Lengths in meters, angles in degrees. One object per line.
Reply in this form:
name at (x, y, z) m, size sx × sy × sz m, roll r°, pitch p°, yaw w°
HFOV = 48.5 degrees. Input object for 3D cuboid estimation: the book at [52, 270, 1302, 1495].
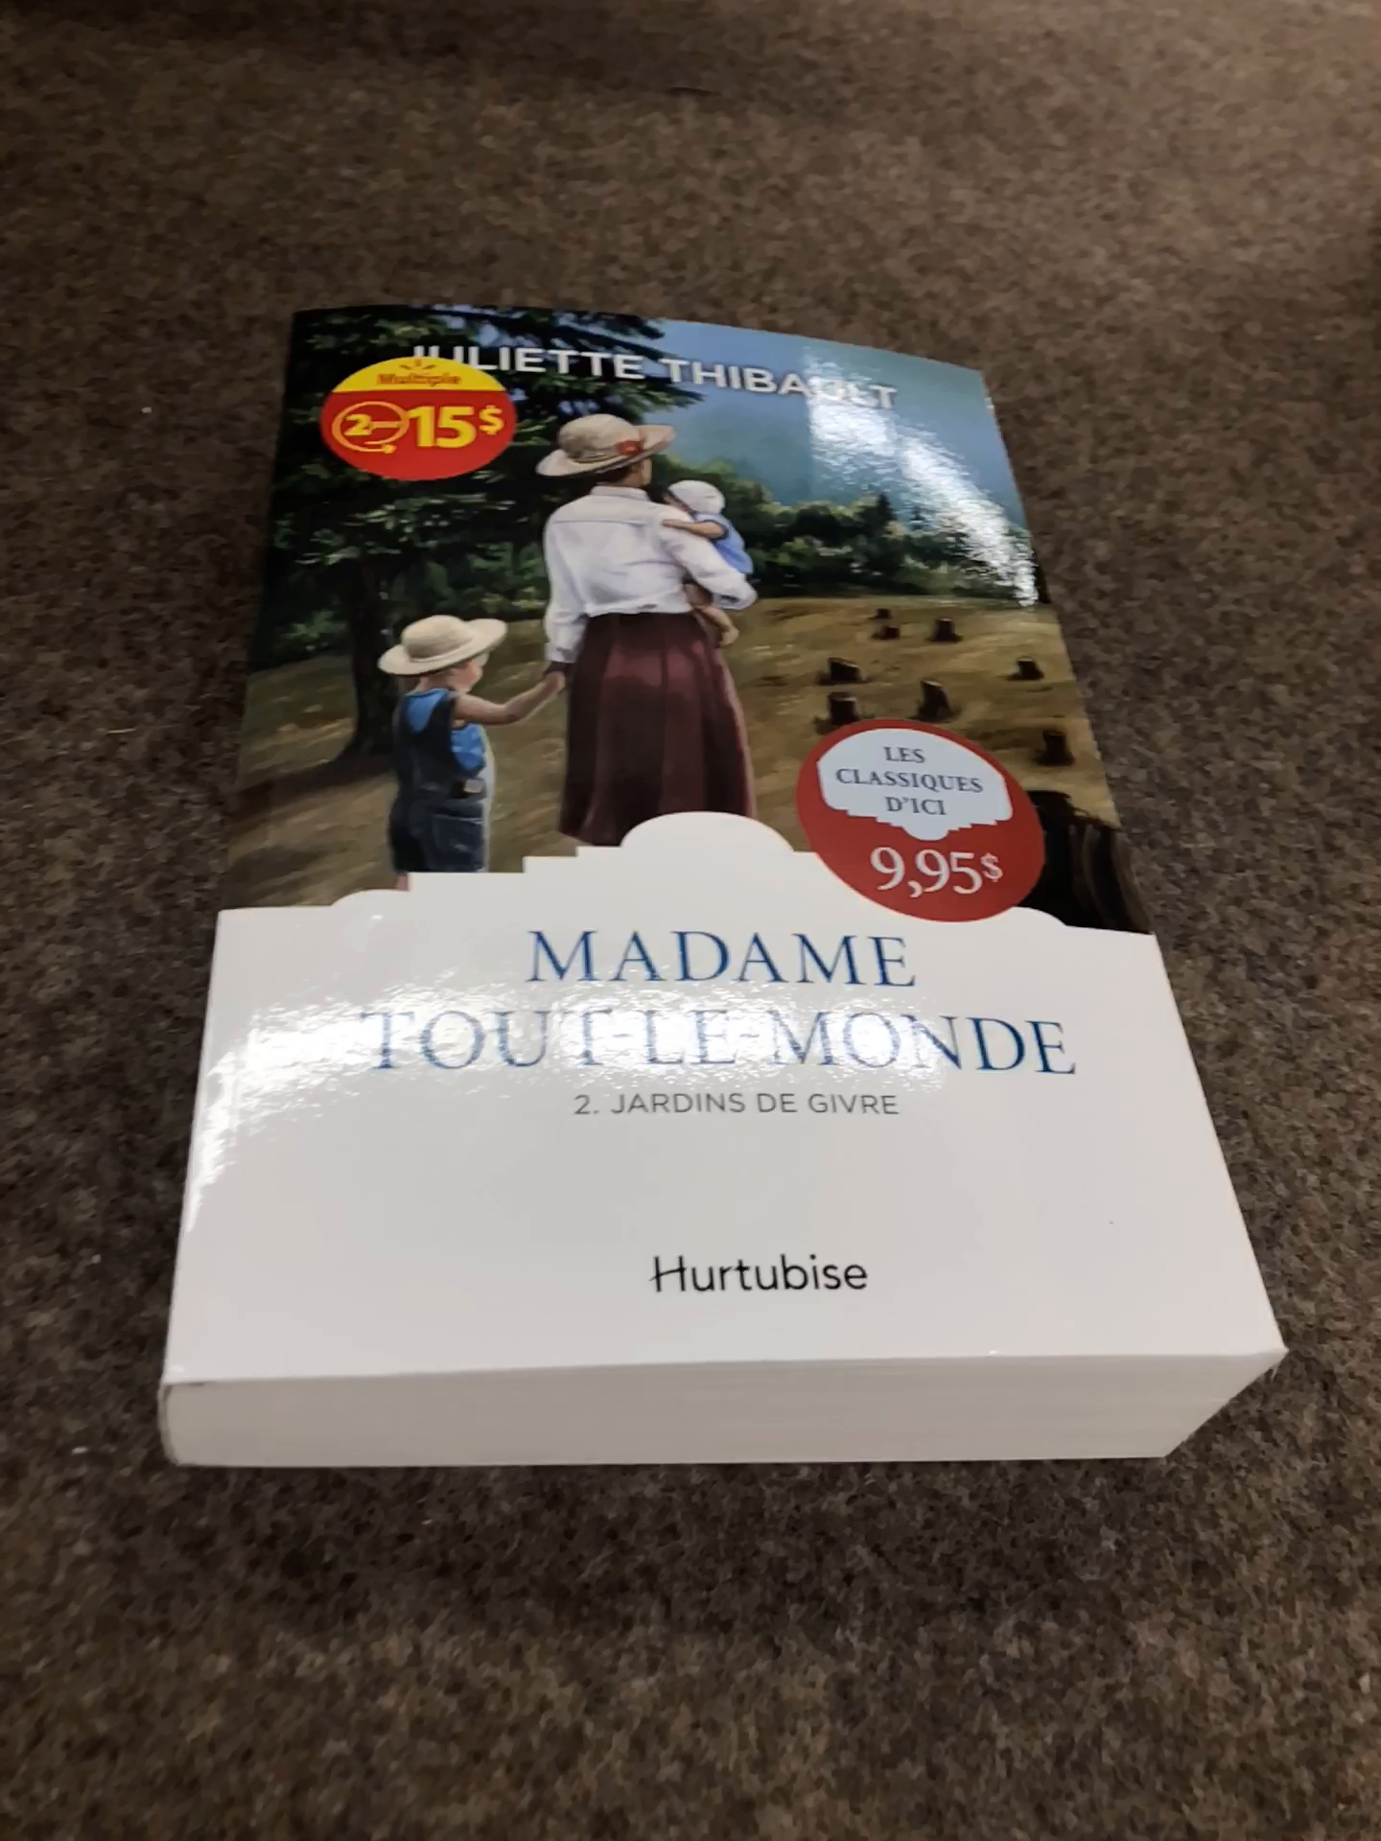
book at (-0.007, -0.021, 0.276) m, size 0.160 × 0.050 × 0.222 m, roll 2°, pitch 56°, yaw -9°
